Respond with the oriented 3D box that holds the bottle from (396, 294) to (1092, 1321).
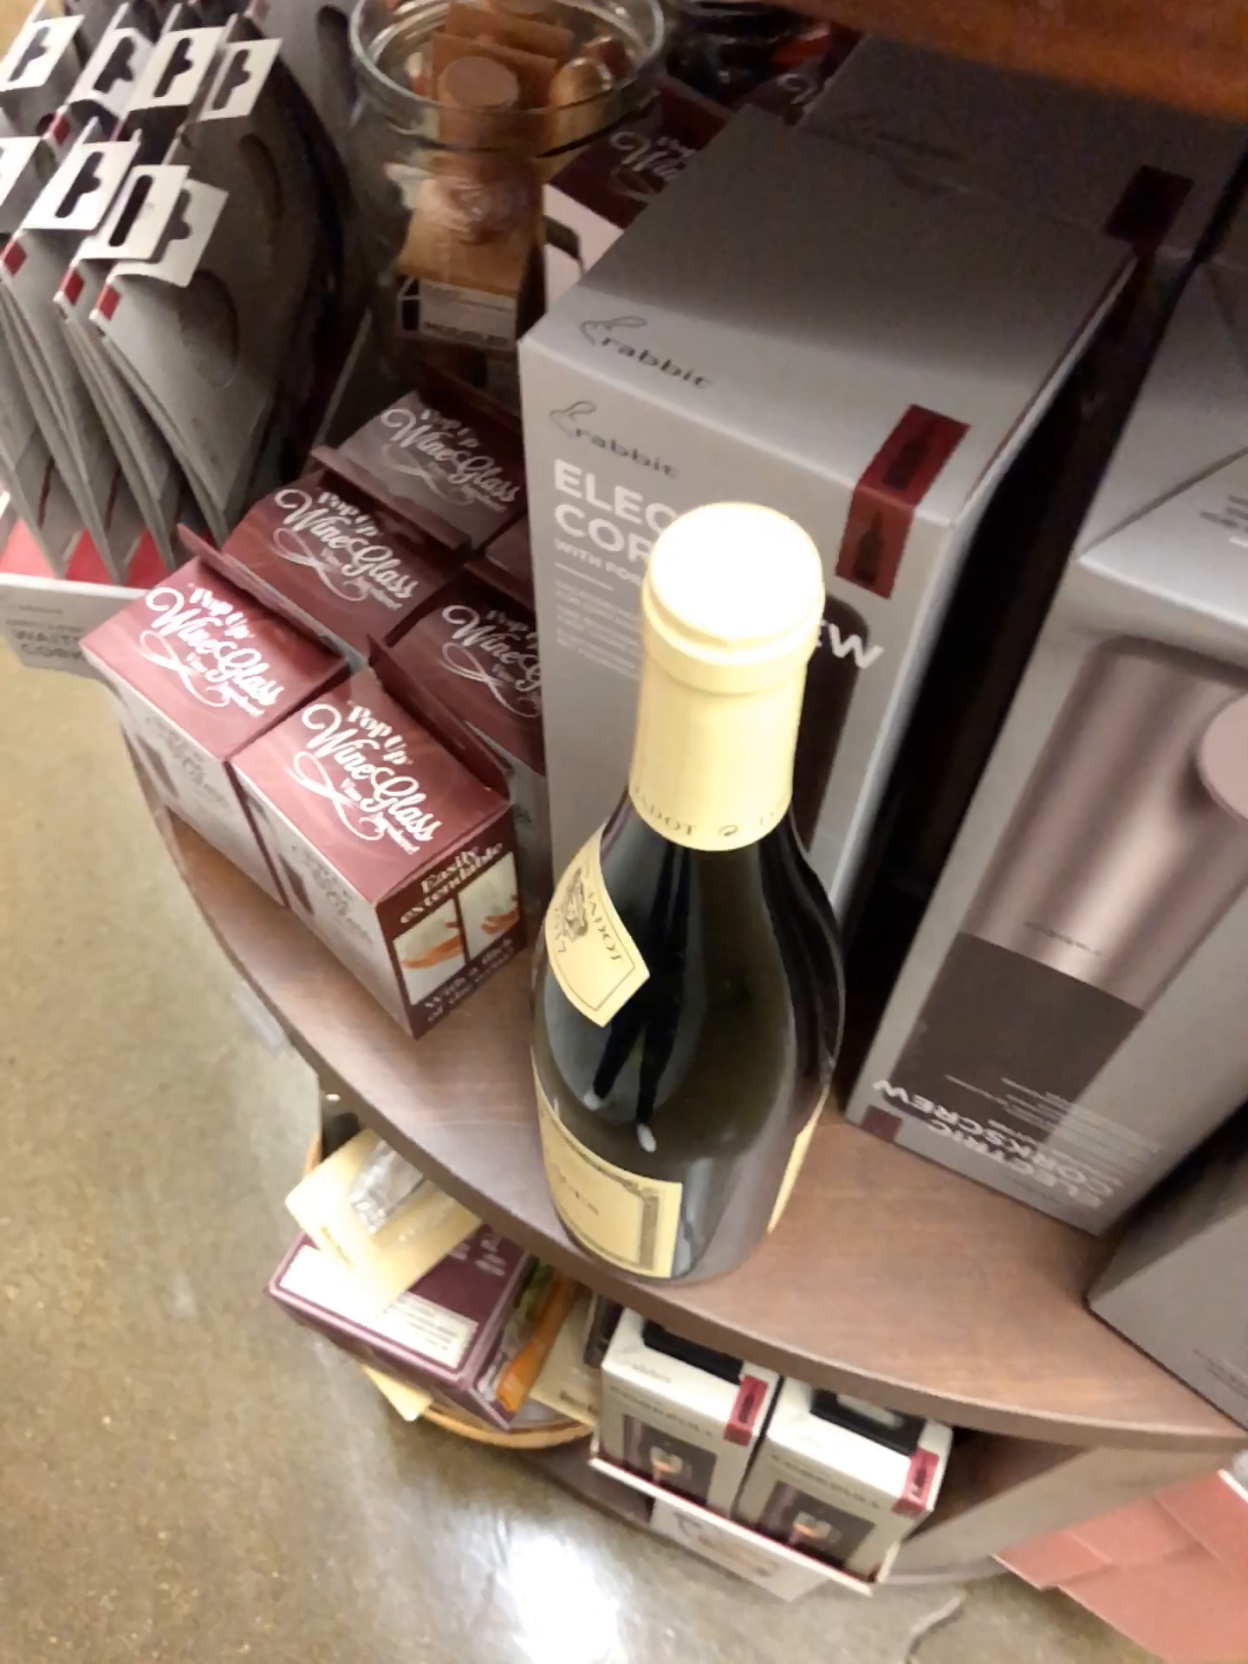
[{"bbox_3d":[0.015,0.031,0.339,0.090,0.299,0.090,0,58,1],"label":"bottle"}]
